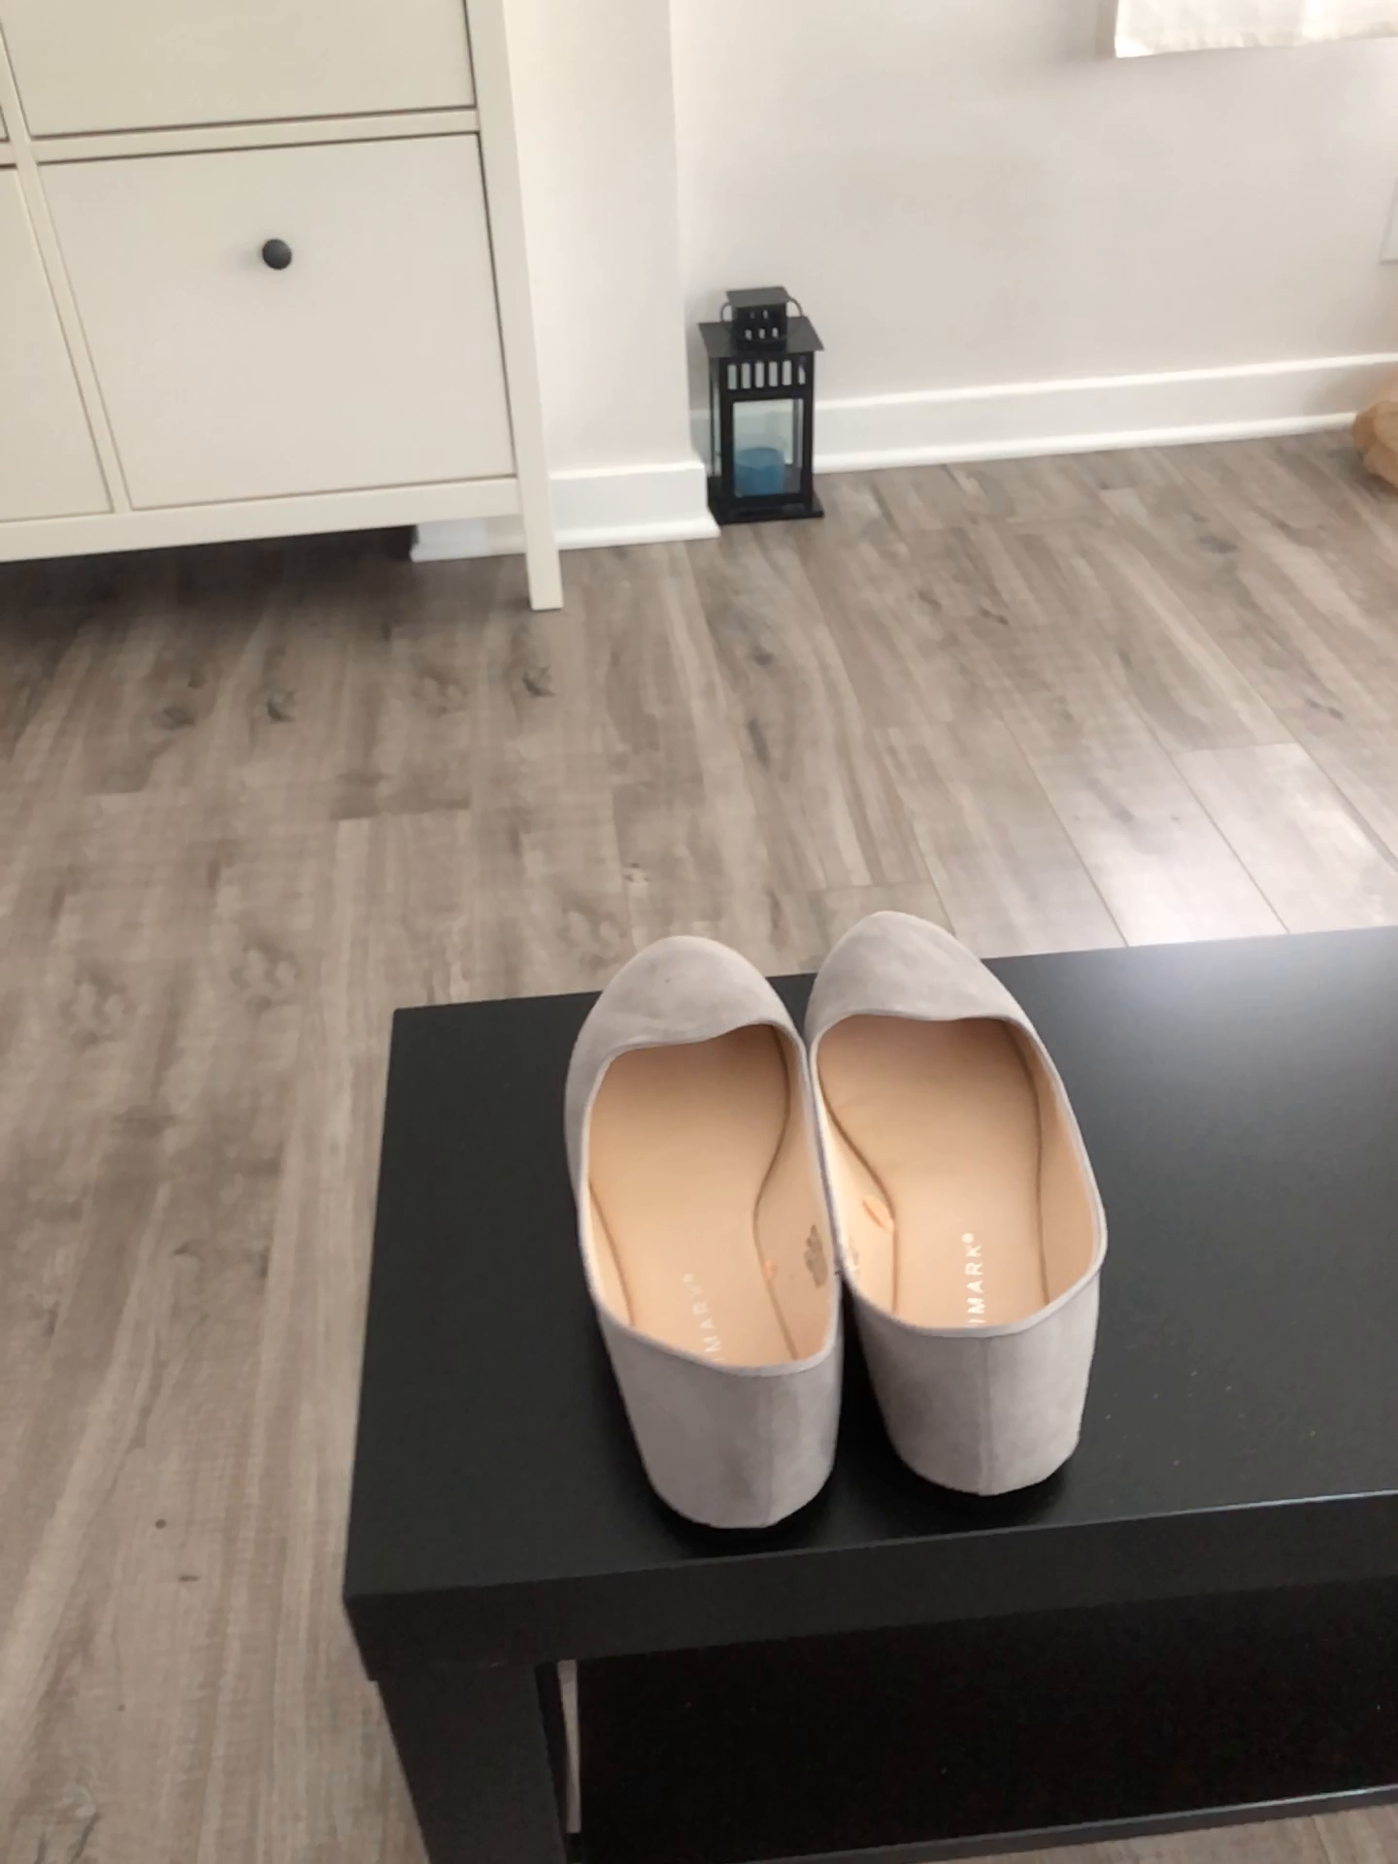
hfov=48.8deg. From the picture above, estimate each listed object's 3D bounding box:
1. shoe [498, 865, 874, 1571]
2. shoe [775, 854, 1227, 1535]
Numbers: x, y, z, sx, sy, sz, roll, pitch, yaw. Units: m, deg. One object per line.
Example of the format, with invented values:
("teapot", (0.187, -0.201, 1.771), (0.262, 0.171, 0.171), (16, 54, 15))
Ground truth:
("shoe", (-0.009, 0.079, 0.528), (0.100, 0.060, 0.257), (-3, 38, -1))
("shoe", (0.087, 0.073, 0.532), (0.100, 0.060, 0.251), (-3, 38, -1))
